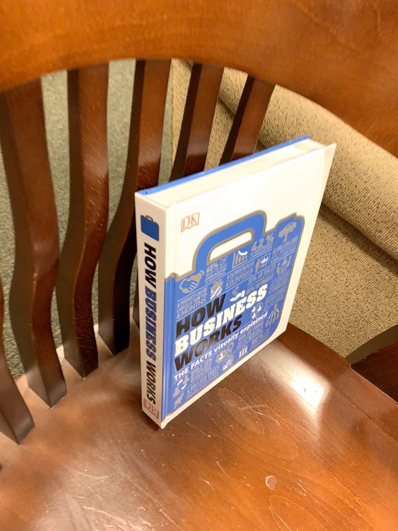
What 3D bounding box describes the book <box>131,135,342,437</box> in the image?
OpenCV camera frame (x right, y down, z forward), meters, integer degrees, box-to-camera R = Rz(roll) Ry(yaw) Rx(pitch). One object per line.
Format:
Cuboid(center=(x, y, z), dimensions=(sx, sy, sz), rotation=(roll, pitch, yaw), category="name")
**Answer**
Cuboid(center=(0.032, 0.020, 0.395), dimensions=(0.212, 0.246, 0.039), rotation=(-27, 48, -37), category="book")
